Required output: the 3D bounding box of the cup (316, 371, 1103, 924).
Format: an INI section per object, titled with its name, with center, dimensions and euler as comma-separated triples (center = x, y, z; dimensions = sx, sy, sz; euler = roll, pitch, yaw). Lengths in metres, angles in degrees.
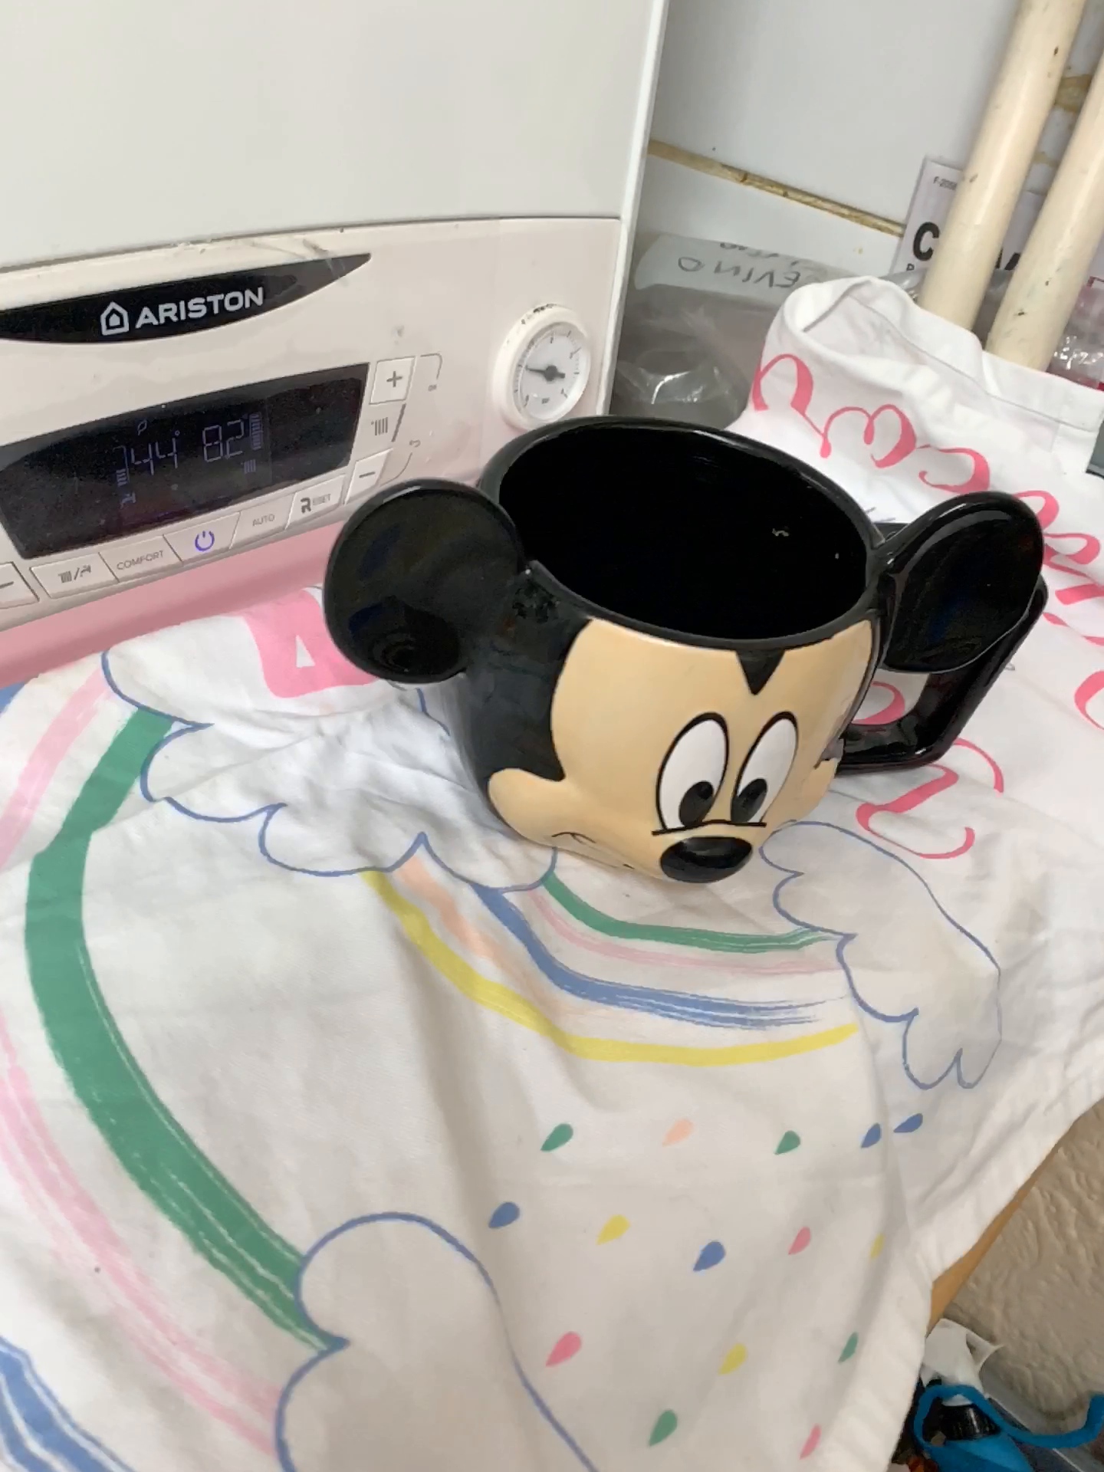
[cup]
center = 0.043, -0.028, 0.279
dimensions = 0.190, 0.079, 0.101
euler = -3, 40, -15
